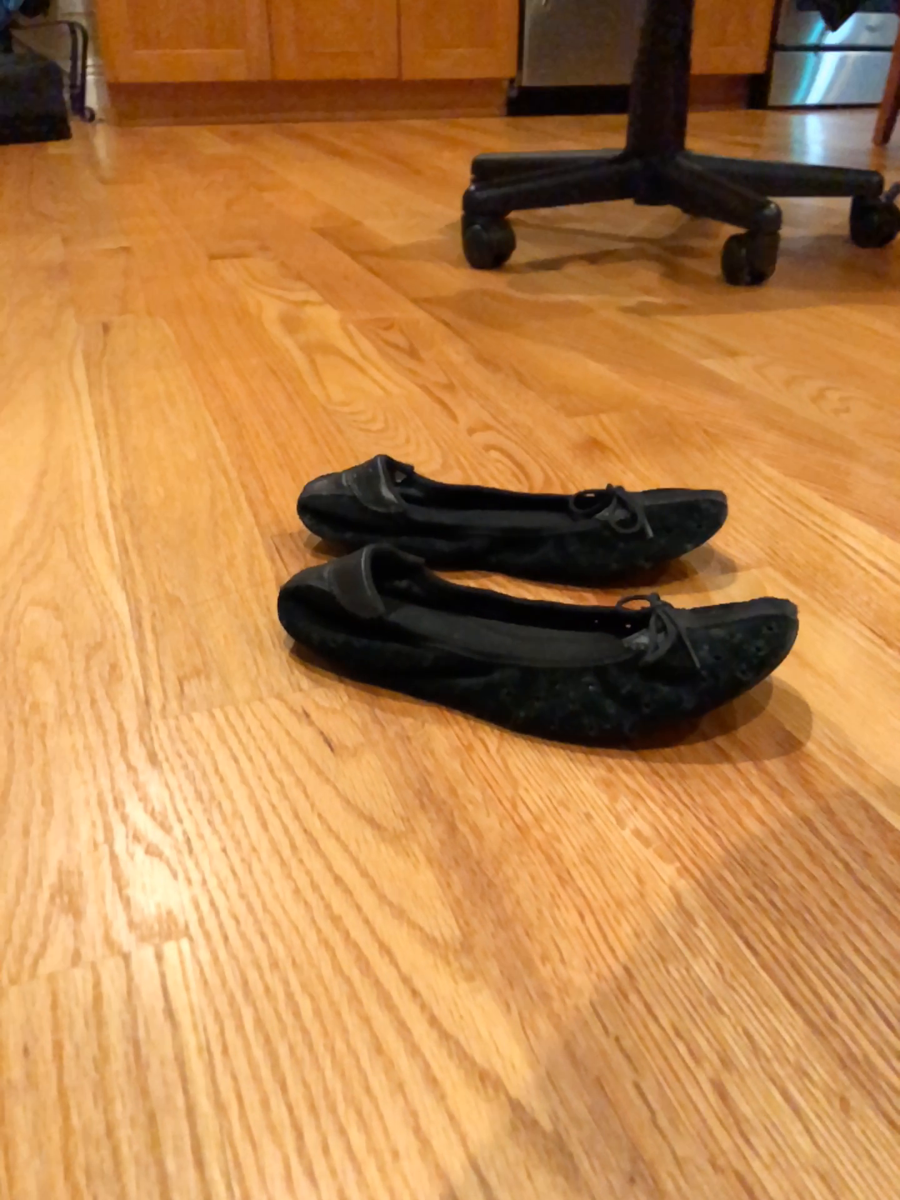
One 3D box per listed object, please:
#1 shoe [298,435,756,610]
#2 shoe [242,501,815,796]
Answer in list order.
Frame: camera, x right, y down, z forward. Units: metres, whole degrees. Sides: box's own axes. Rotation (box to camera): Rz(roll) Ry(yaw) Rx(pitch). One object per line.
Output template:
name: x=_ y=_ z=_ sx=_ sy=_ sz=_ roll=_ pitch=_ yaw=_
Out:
shoe: x=0.040 y=-0.045 z=0.527 sx=0.220 sy=0.046 sz=0.093 roll=4 pitch=30 yaw=6
shoe: x=0.036 y=0.013 z=0.427 sx=0.220 sy=0.050 sz=0.101 roll=8 pitch=30 yaw=14
